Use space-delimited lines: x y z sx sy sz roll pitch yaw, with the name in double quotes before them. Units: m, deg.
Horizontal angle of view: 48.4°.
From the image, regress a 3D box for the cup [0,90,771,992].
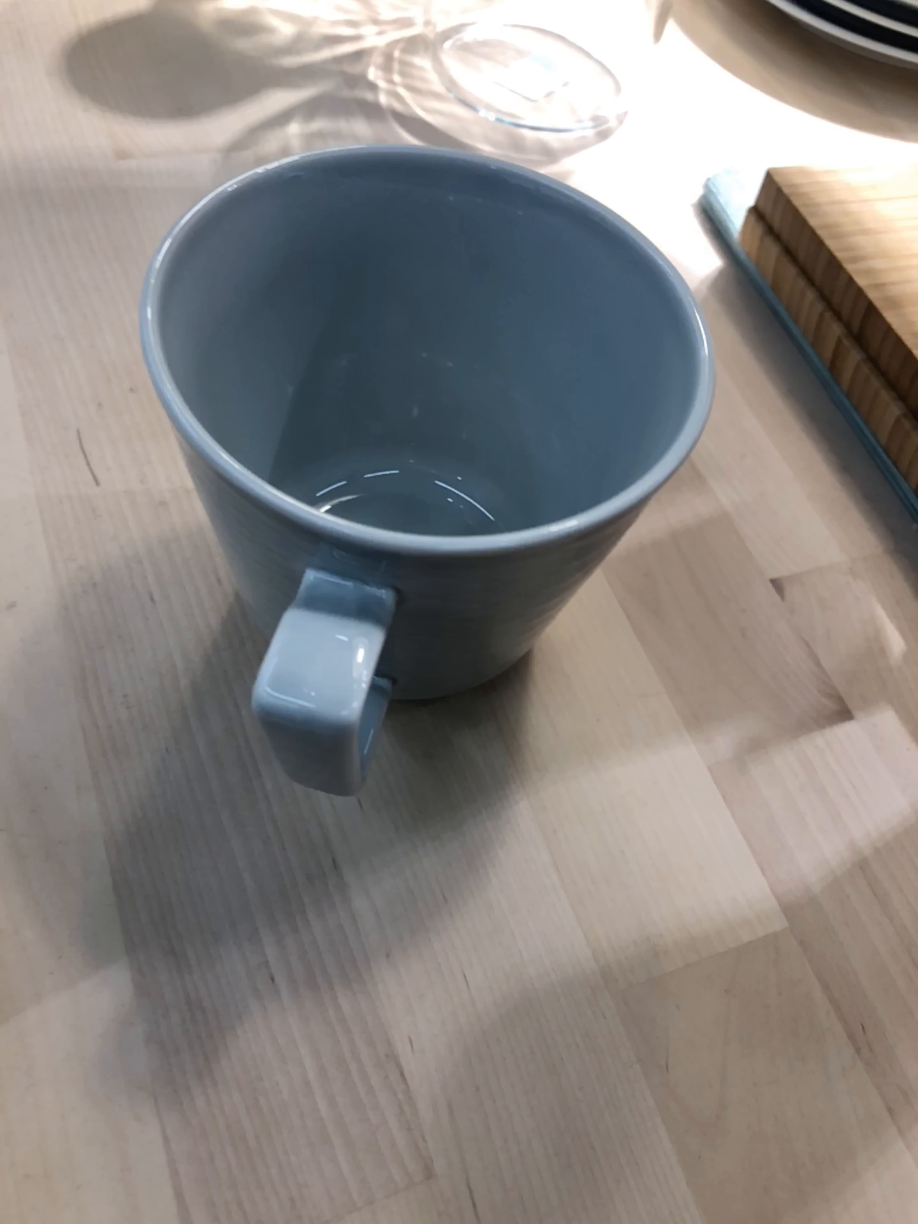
"cup" -0.010 -0.018 0.208 0.110 0.080 0.141 16 55 2
